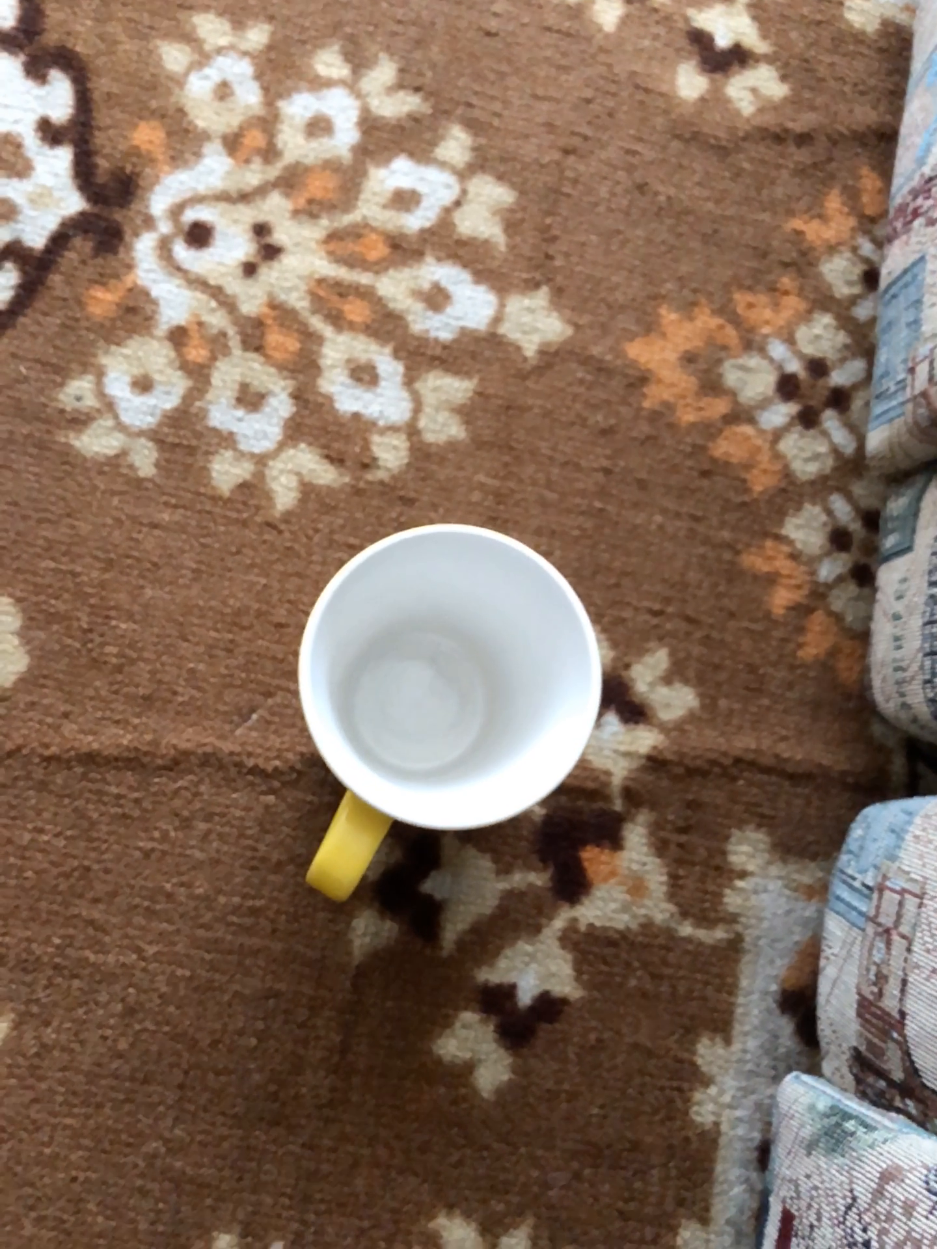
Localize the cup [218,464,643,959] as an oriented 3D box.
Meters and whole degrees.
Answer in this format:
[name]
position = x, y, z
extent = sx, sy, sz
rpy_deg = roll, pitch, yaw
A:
[cup]
position = -0.015, 0.031, 0.353
extent = 0.097, 0.089, 0.125
rpy_deg = 17, 77, -7
